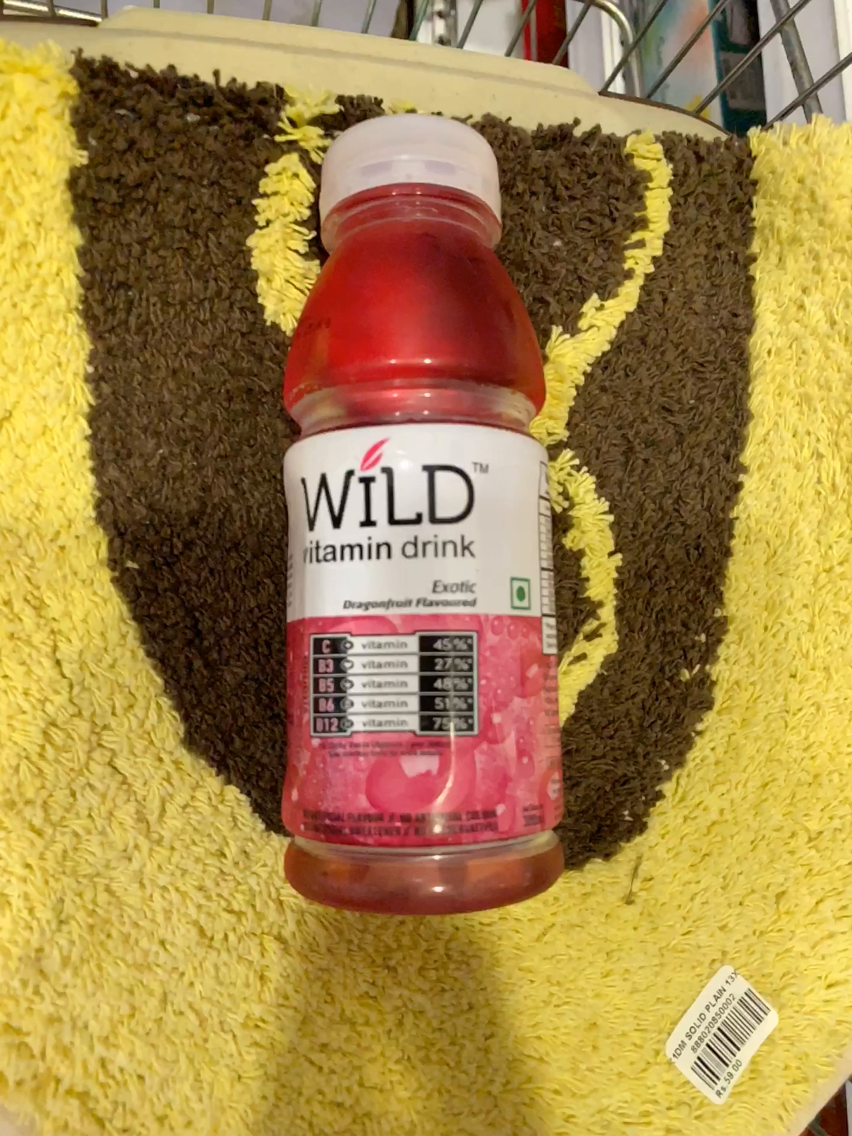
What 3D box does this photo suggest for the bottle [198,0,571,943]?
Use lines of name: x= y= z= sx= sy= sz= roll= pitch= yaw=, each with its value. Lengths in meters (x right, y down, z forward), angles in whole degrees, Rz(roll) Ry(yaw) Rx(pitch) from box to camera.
bottle: x=-0.007 y=-0.021 z=0.176 sx=0.060 sy=0.050 sz=0.170 roll=-3 pitch=82 yaw=7
